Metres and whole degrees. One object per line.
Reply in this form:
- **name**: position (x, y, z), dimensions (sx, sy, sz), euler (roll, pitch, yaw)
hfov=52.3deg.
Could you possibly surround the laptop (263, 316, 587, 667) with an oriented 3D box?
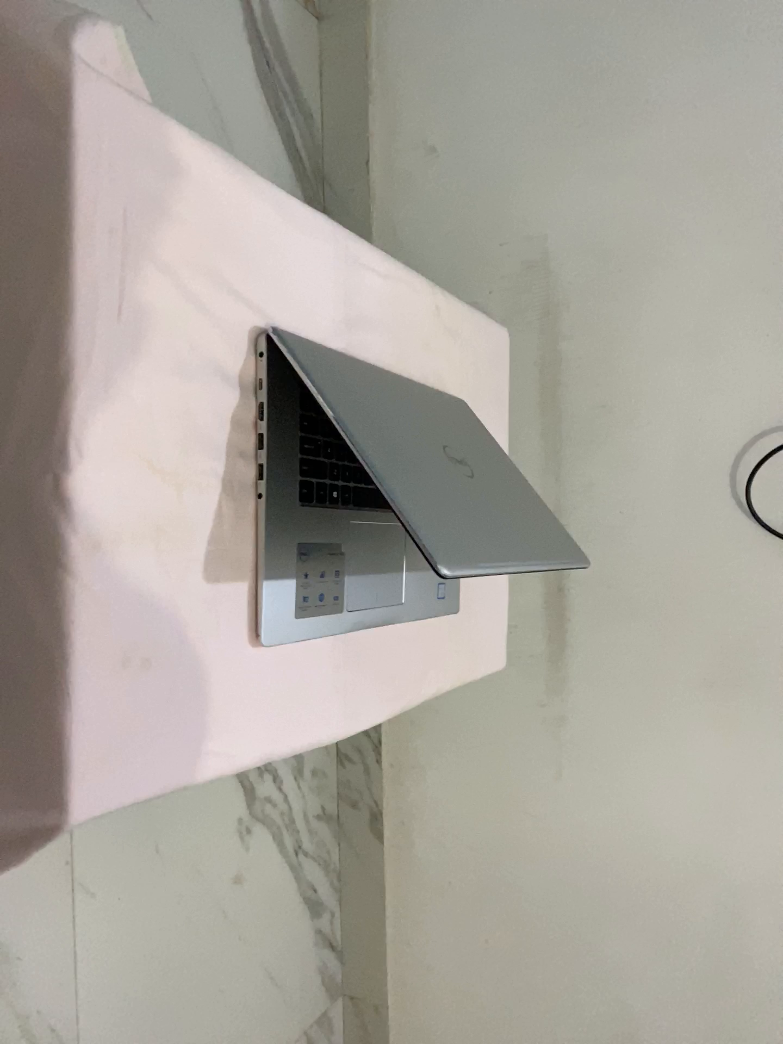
- **laptop**: position (0.053, -0.021, 0.720), dimensions (0.349, 0.148, 0.234), euler (1, 89, -61)
